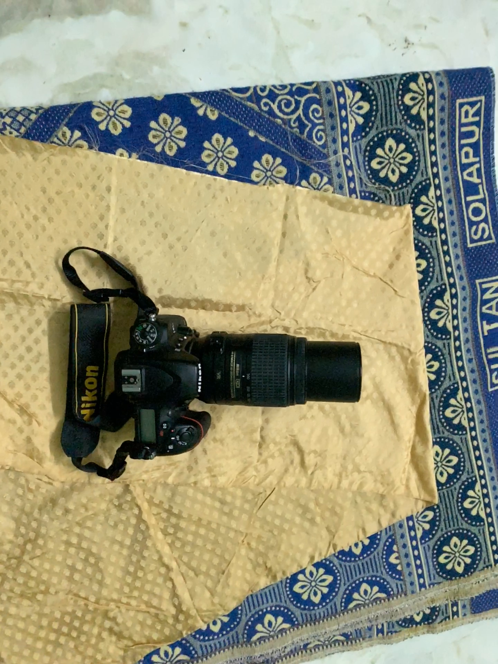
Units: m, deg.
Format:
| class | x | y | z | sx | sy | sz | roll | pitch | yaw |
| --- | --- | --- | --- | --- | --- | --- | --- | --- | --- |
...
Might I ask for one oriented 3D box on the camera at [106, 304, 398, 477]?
| class | x | y | z | sx | sy | sz | roll | pitch | yaw |
| --- | --- | --- | --- | --- | --- | --- | --- | --- | --- |
| camera | 0.004 | 0.045 | 0.513 | 0.240 | 0.180 | 0.140 | 0 | 95 | 1 |
